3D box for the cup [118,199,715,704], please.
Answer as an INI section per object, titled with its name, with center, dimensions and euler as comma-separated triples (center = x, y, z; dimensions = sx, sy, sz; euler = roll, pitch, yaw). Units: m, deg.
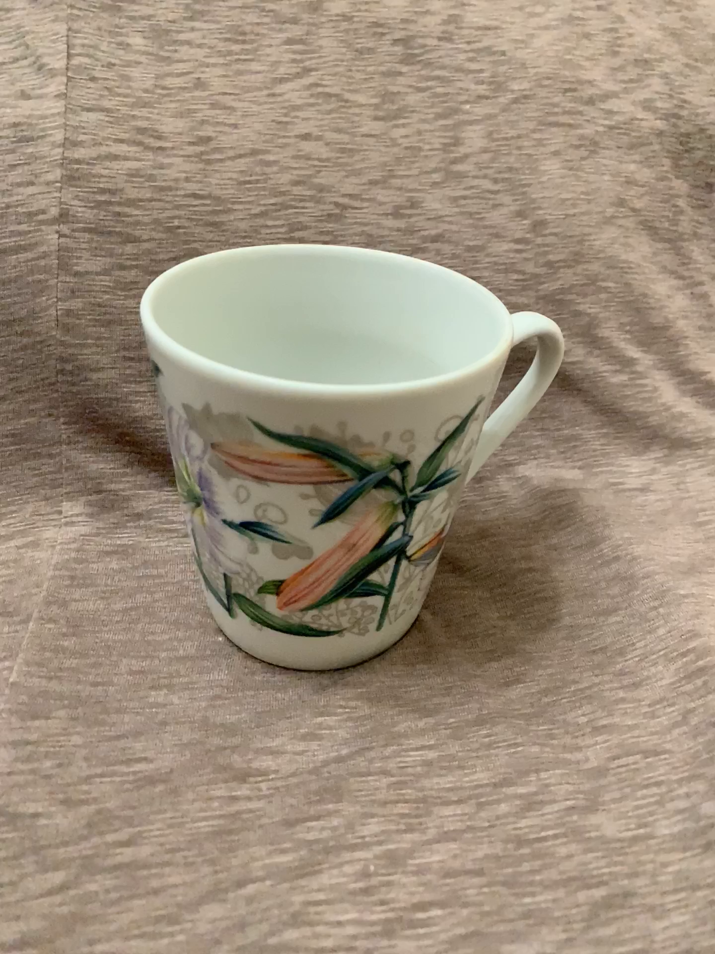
[cup]
center = 0.005, -0.014, 0.201
dimensions = 0.119, 0.088, 0.085
euler = -9, 36, -13
